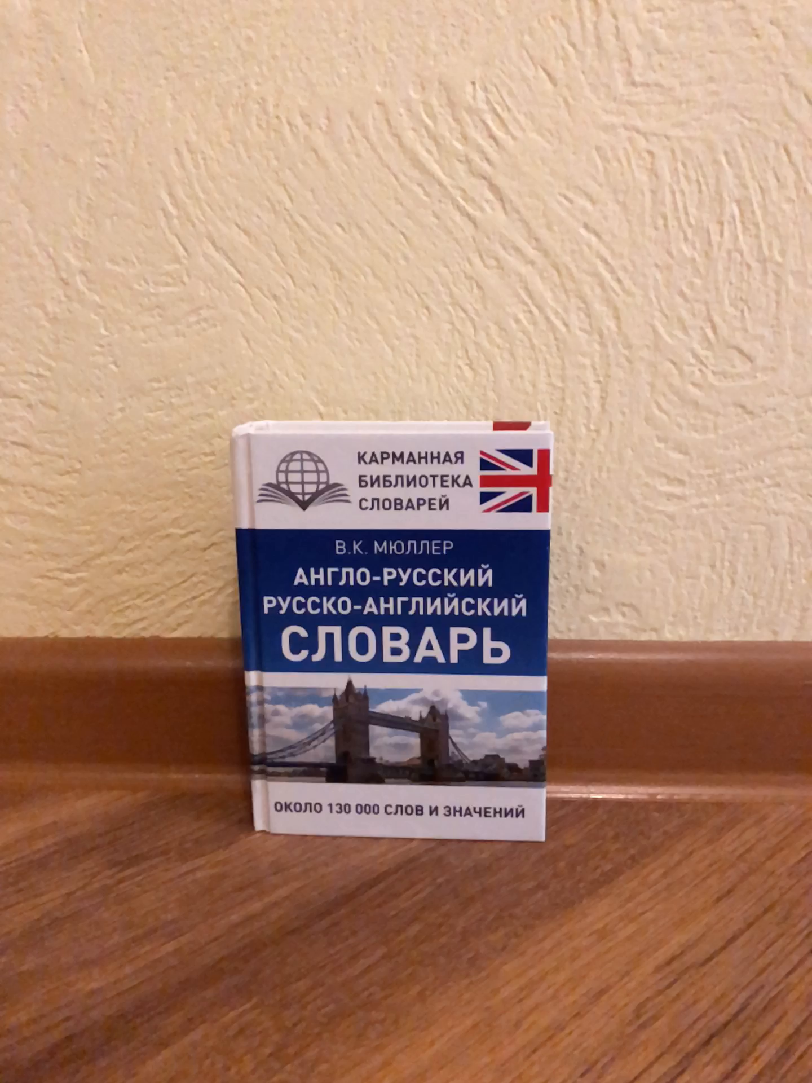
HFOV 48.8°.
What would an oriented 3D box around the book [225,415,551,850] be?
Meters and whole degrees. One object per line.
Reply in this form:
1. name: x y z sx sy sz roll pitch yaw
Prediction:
1. book: -0.003 0.032 0.316 0.102 0.146 0.037 0 15 5
